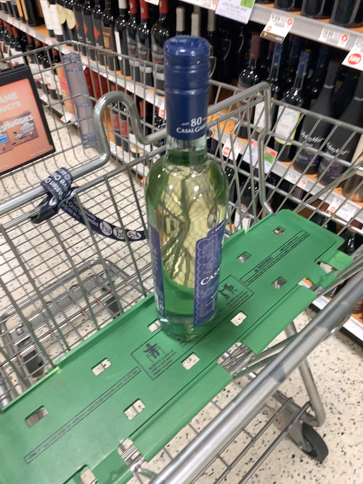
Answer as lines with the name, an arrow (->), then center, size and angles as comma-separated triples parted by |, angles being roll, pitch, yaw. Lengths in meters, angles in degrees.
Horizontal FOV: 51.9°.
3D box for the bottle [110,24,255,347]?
bottle -> 0.007, -0.019, 0.338 | 0.080, 0.297, 0.081 | -1, 46, 1
